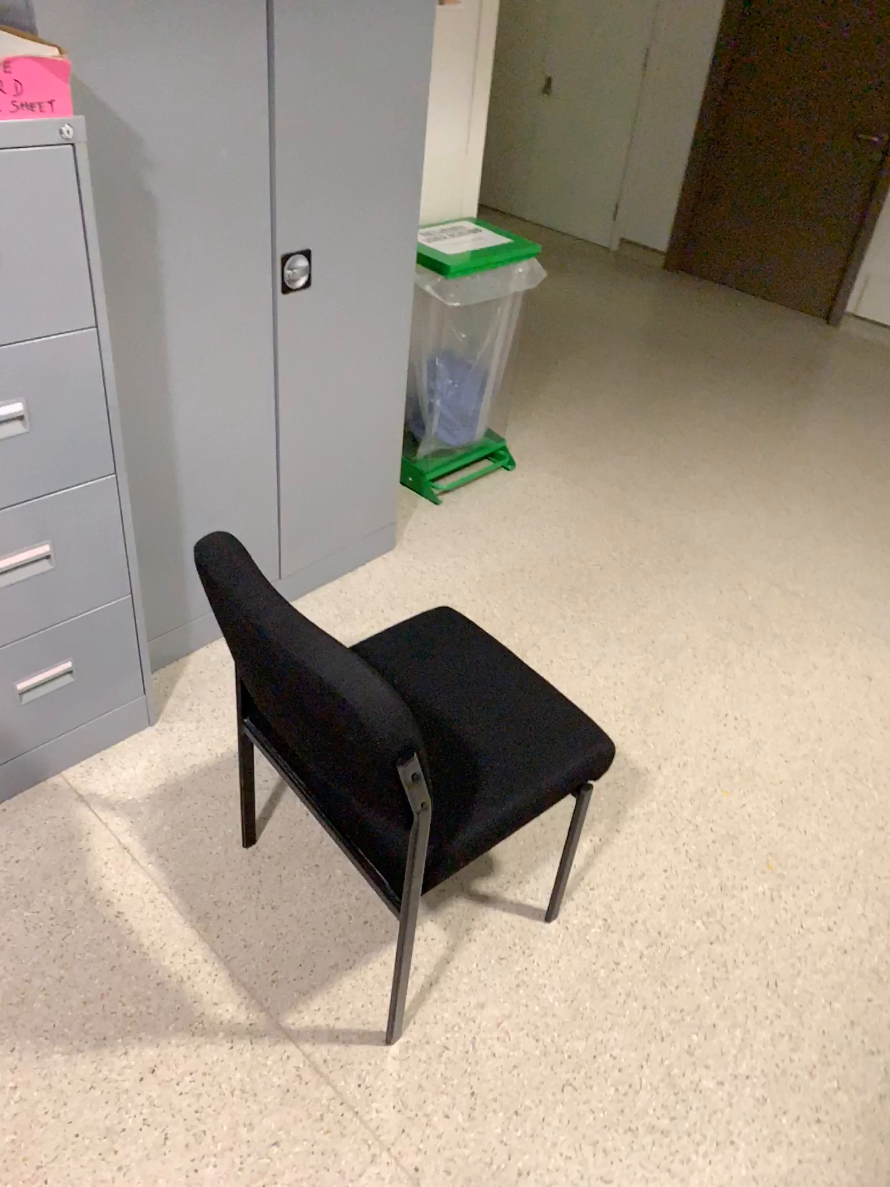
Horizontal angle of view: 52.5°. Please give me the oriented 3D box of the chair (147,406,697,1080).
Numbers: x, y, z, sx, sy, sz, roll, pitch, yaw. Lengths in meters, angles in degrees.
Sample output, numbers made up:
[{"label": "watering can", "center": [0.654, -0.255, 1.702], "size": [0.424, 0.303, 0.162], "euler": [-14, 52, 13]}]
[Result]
[{"label": "chair", "center": [-0.080, 0.237, 1.653], "size": [0.593, 0.851, 0.634], "euler": [-23, 46, -34]}]
